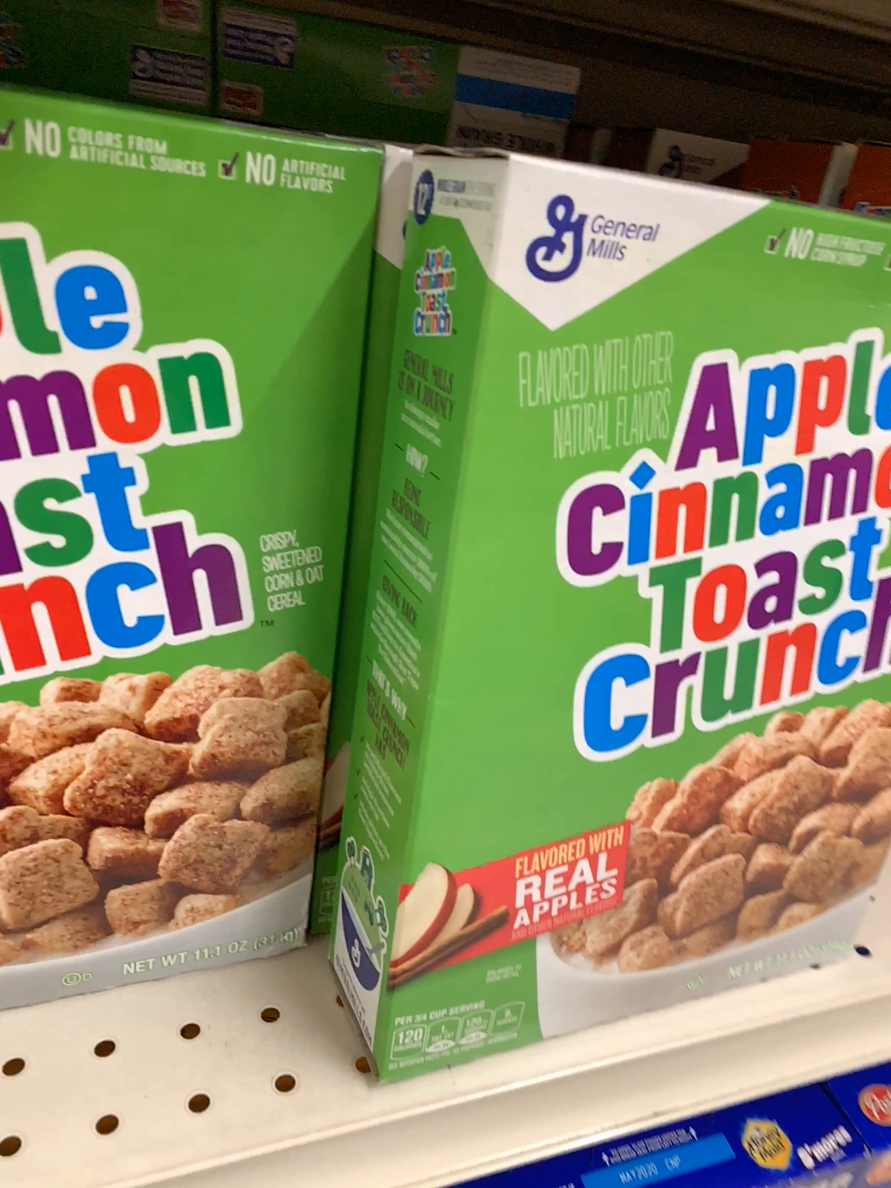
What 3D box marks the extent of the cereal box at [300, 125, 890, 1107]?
[{"bbox_3d":[0.077,0.019,0.292,0.210,0.269,0.060,-2,28,-25],"label":"cereal box"}]
